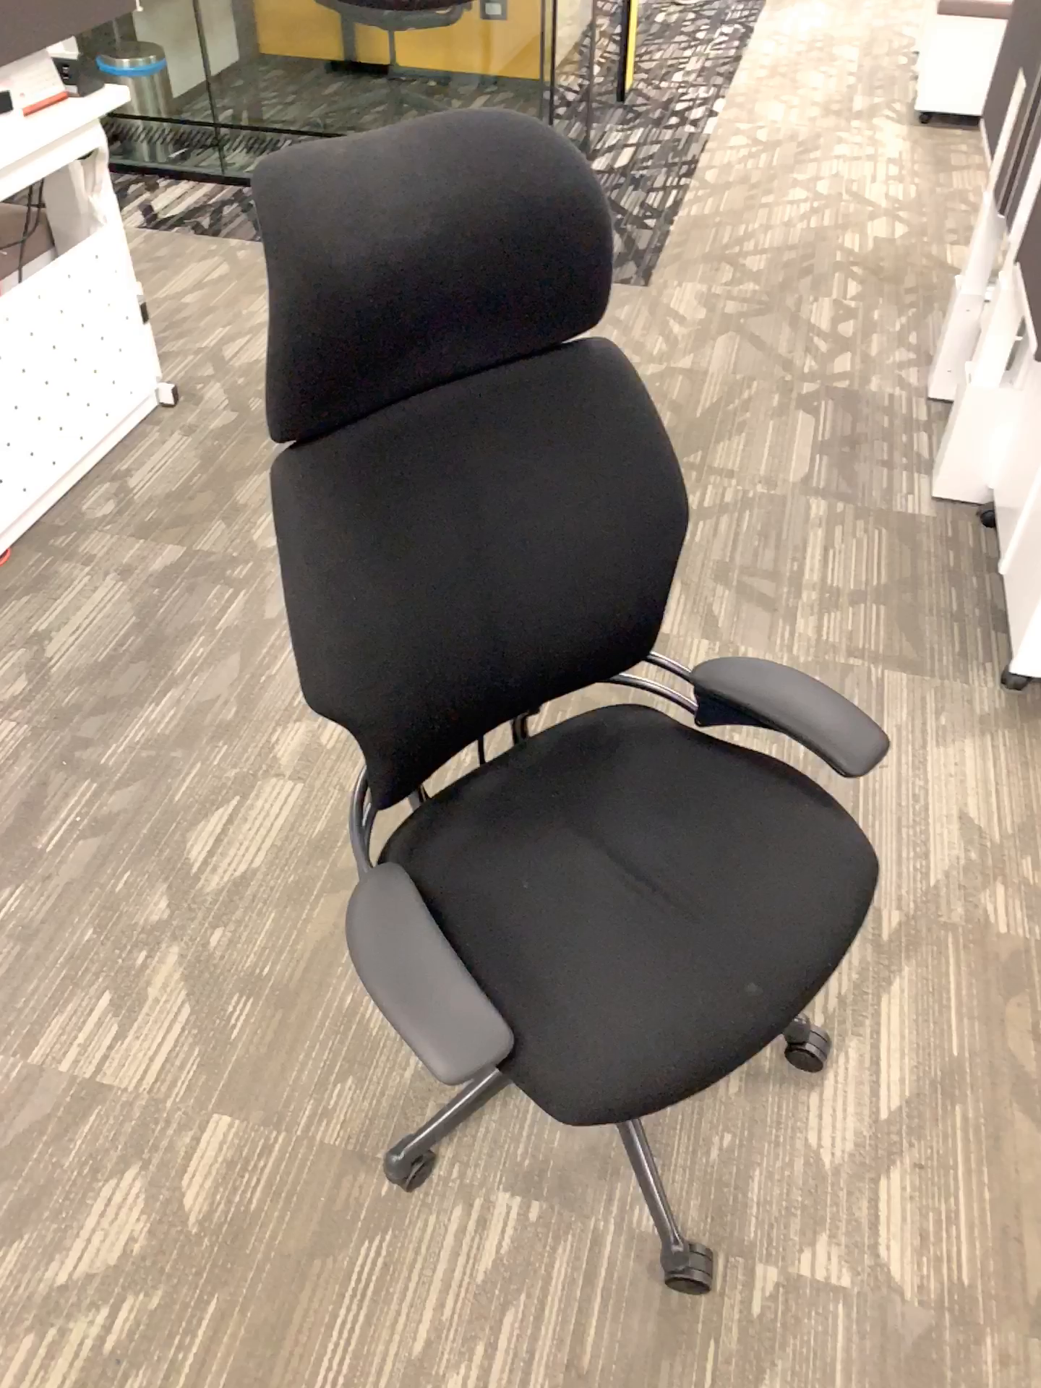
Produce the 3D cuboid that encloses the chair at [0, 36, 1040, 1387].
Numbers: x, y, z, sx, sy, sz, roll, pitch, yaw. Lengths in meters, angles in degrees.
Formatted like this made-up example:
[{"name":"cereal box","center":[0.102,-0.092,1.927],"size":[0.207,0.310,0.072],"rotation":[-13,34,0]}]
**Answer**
[{"name":"chair","center":[0.082,0.051,1.127],"size":[0.692,1.091,0.774],"rotation":[-30,51,-29]}]
